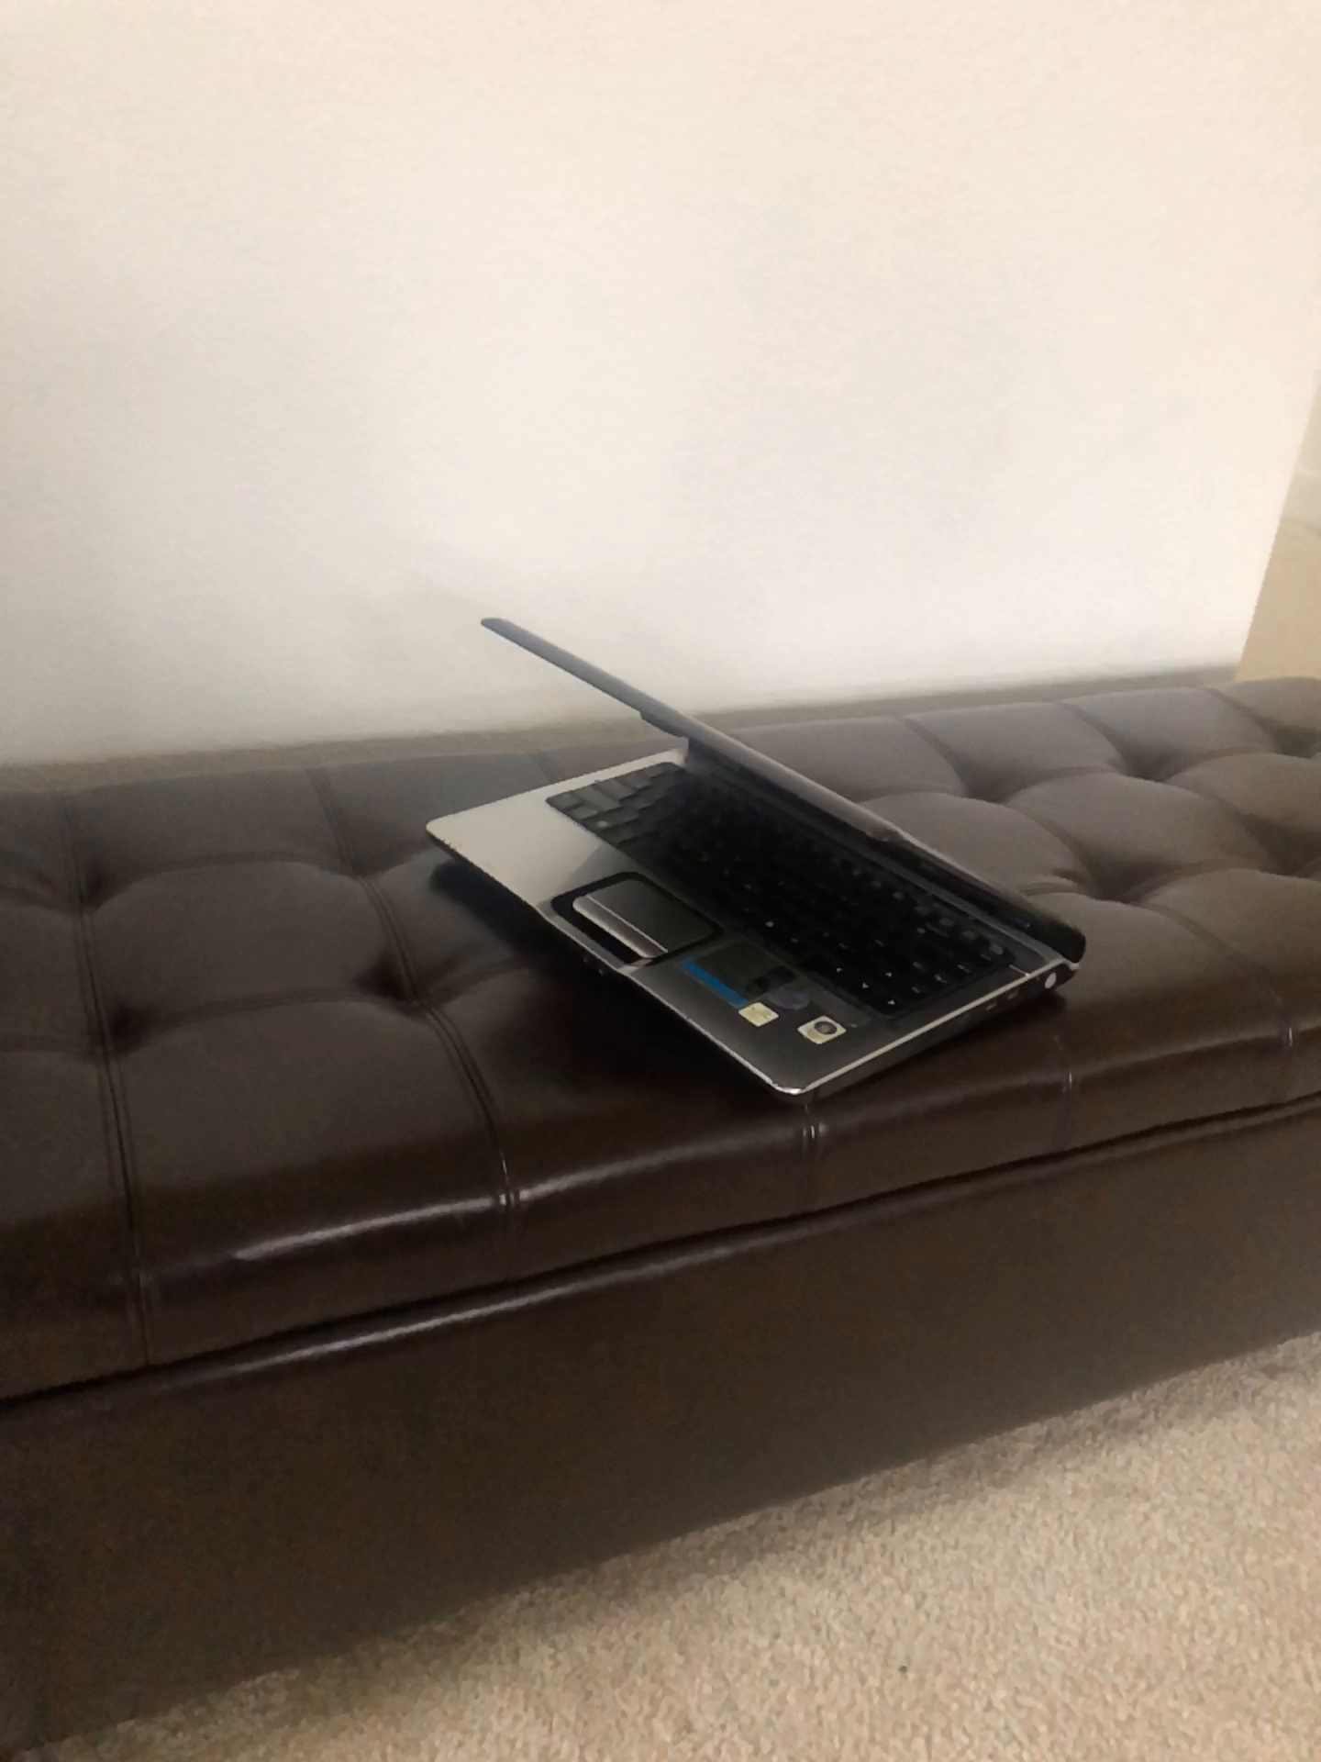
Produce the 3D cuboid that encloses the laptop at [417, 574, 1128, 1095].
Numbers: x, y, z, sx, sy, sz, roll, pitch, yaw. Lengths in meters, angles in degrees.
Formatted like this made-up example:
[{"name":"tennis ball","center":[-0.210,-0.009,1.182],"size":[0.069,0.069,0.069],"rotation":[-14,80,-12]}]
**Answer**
[{"name":"laptop","center":[0.046,-0.054,0.821],"size":[0.230,0.122,0.333],"rotation":[-18,36,-36]}]
